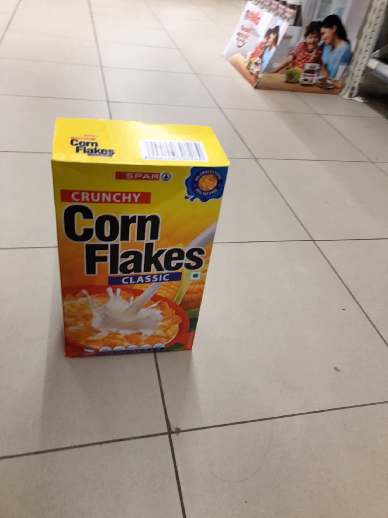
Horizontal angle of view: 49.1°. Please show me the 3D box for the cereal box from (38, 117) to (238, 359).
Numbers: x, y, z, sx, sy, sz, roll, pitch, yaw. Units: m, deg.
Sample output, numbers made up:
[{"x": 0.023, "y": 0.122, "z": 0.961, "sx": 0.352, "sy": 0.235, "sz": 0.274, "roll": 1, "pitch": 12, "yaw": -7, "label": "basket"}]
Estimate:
[{"x": -0.080, "y": -0.013, "z": 0.554, "sx": 0.200, "sy": 0.298, "sz": 0.101, "roll": -1, "pitch": 39, "yaw": -14, "label": "cereal box"}]
